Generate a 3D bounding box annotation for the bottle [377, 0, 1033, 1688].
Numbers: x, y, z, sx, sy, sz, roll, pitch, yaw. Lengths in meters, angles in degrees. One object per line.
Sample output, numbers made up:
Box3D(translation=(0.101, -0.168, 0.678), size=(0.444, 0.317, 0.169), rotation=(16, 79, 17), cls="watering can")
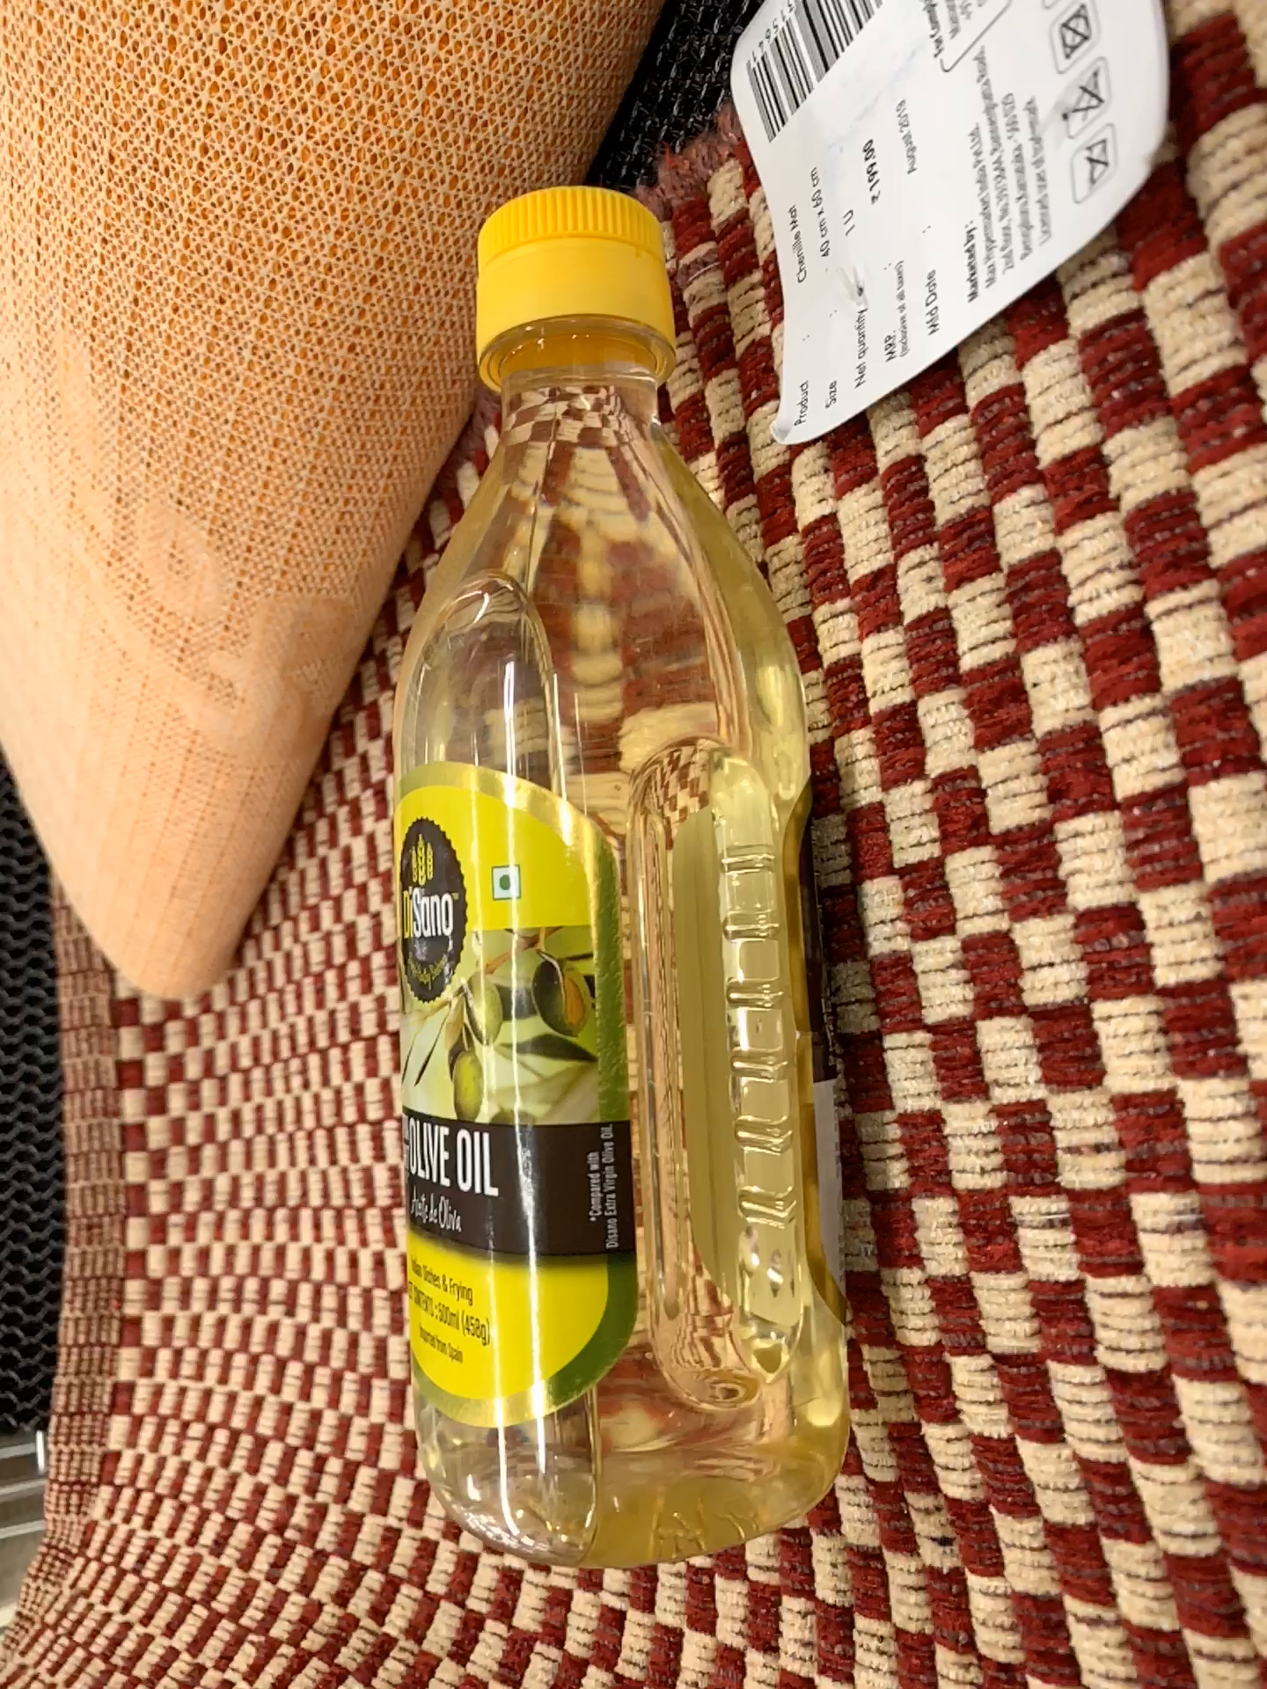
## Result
Box3D(translation=(0.006, -0.010, 0.208), size=(0.070, 0.060, 0.230), rotation=(-10, 82, 58), cls="bottle")
